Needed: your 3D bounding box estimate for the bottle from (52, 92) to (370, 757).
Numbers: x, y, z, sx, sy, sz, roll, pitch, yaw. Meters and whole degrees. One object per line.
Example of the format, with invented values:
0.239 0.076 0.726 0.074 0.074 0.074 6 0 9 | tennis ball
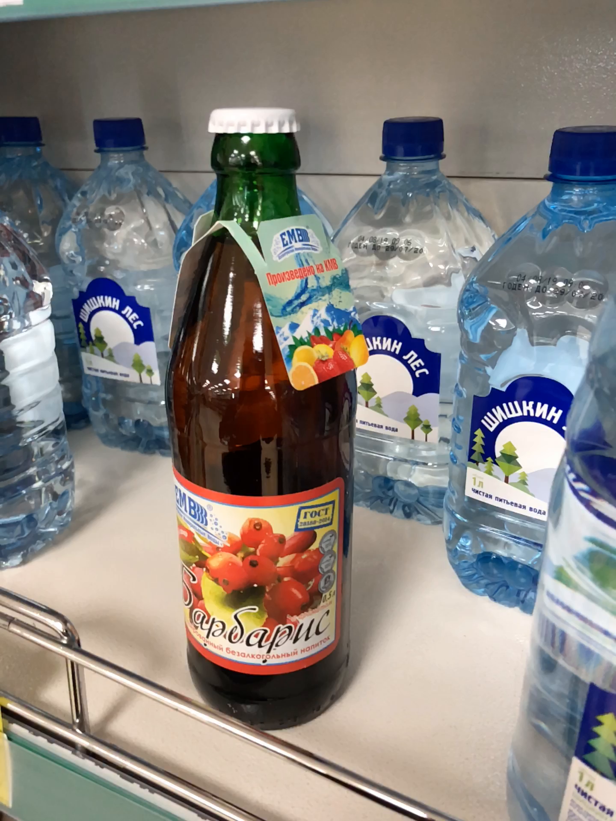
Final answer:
-0.023 0.010 0.246 0.073 0.222 0.057 11 27 28 | bottle
